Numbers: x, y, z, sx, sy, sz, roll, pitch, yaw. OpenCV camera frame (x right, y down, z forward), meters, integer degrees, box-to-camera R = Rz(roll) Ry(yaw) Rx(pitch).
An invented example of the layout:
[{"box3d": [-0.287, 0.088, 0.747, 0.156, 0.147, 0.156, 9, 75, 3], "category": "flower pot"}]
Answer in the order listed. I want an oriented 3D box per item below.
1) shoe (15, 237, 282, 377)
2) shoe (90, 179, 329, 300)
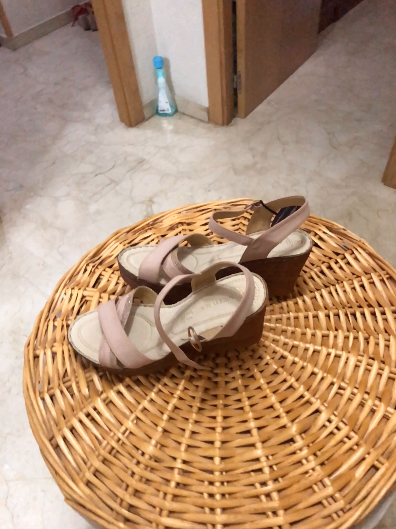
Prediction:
[{"box3d": [-0.043, 0.048, 0.480, 0.251, 0.100, 0.112, -1, 50, 5], "category": "shoe"}, {"box3d": [0.017, -0.033, 0.546, 0.260, 0.104, 0.100, 2, 50, 8], "category": "shoe"}]
